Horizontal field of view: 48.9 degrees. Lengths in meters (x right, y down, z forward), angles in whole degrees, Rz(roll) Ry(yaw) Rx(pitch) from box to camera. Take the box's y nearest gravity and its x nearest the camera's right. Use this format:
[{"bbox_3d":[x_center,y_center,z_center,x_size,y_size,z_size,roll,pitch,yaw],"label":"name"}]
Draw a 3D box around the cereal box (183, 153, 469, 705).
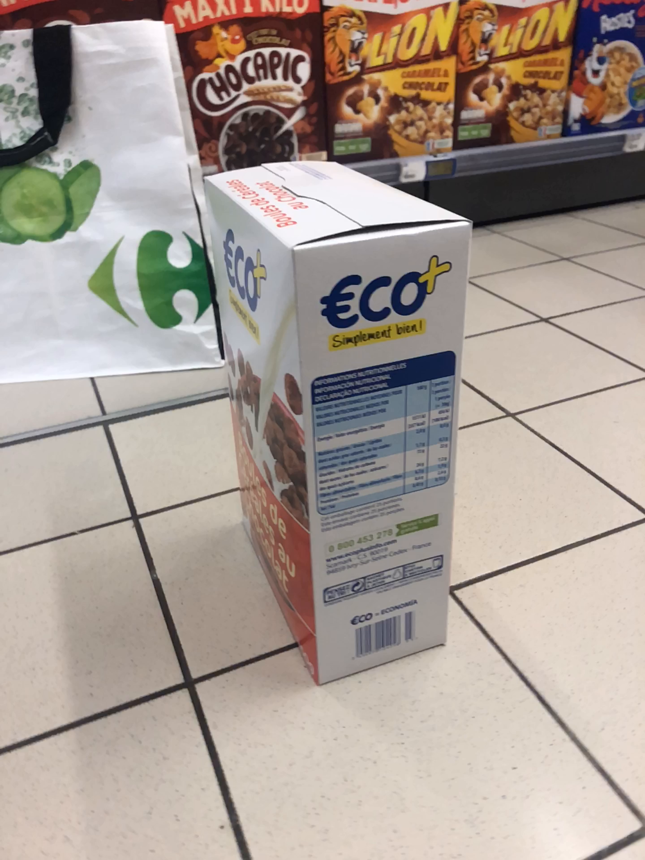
[{"bbox_3d":[-0.006,-0.012,0.482,0.100,0.298,0.211,-12,30,-16],"label":"cereal box"}]
